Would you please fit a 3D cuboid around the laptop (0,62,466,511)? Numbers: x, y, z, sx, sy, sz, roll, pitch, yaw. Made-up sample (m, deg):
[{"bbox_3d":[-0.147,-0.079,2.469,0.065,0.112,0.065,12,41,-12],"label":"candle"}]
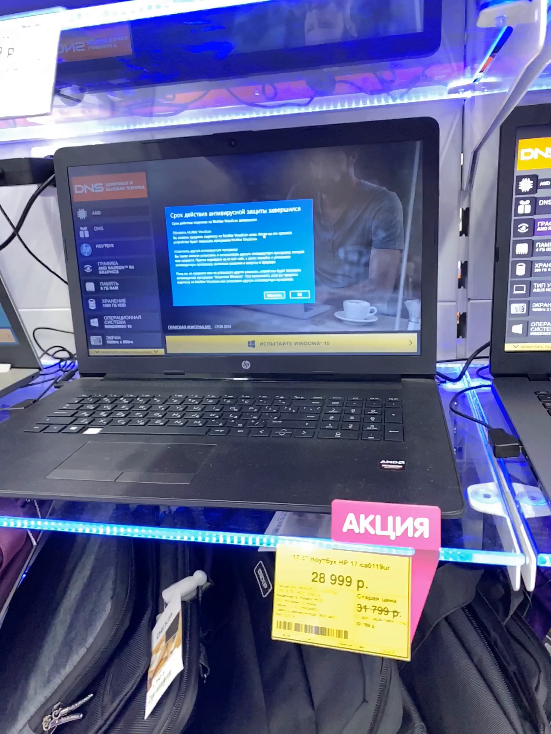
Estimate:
[{"bbox_3d":[-0.074,-0.077,0.504,0.419,0.260,0.295,0,16,11],"label":"laptop"}]
